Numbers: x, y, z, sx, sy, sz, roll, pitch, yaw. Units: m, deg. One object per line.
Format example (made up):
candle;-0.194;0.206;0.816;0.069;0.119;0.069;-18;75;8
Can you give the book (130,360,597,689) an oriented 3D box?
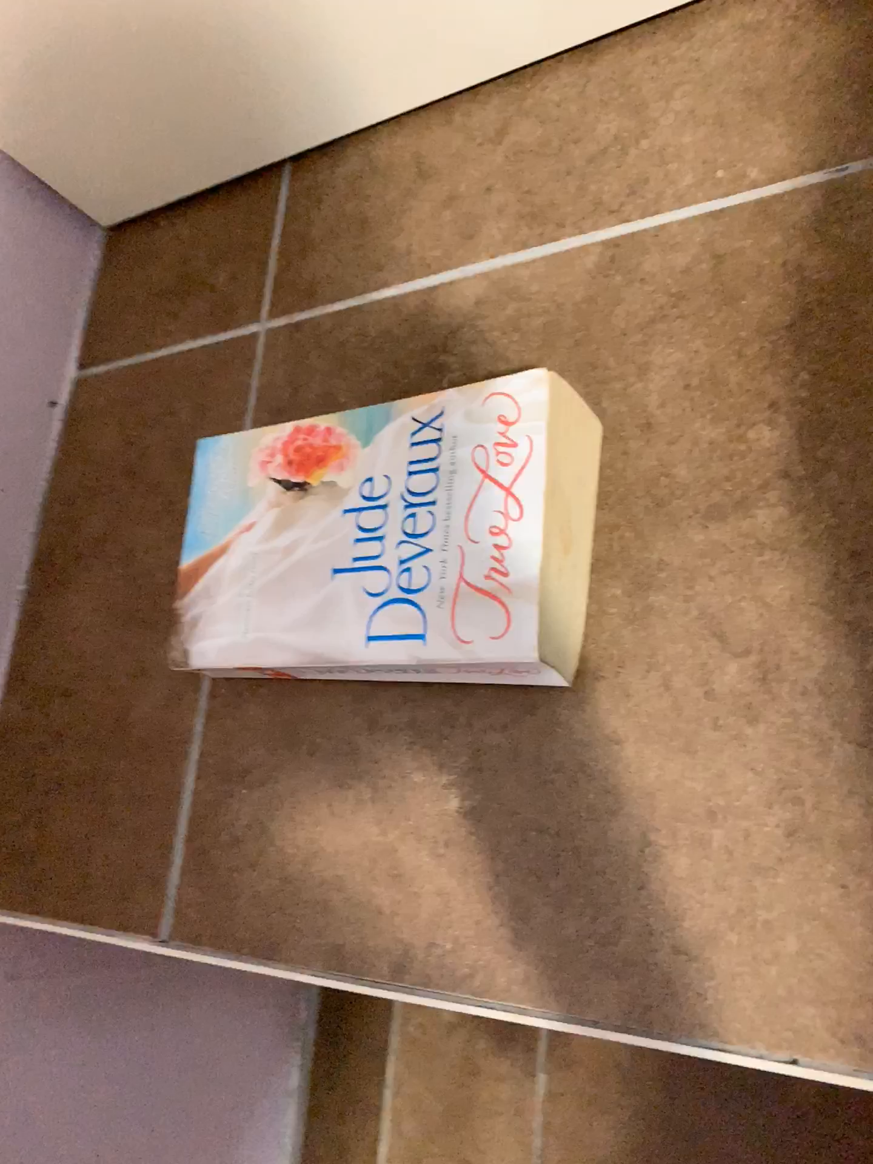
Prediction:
book;-0.033;-0.016;0.360;0.180;0.047;0.106;-2;73;31
